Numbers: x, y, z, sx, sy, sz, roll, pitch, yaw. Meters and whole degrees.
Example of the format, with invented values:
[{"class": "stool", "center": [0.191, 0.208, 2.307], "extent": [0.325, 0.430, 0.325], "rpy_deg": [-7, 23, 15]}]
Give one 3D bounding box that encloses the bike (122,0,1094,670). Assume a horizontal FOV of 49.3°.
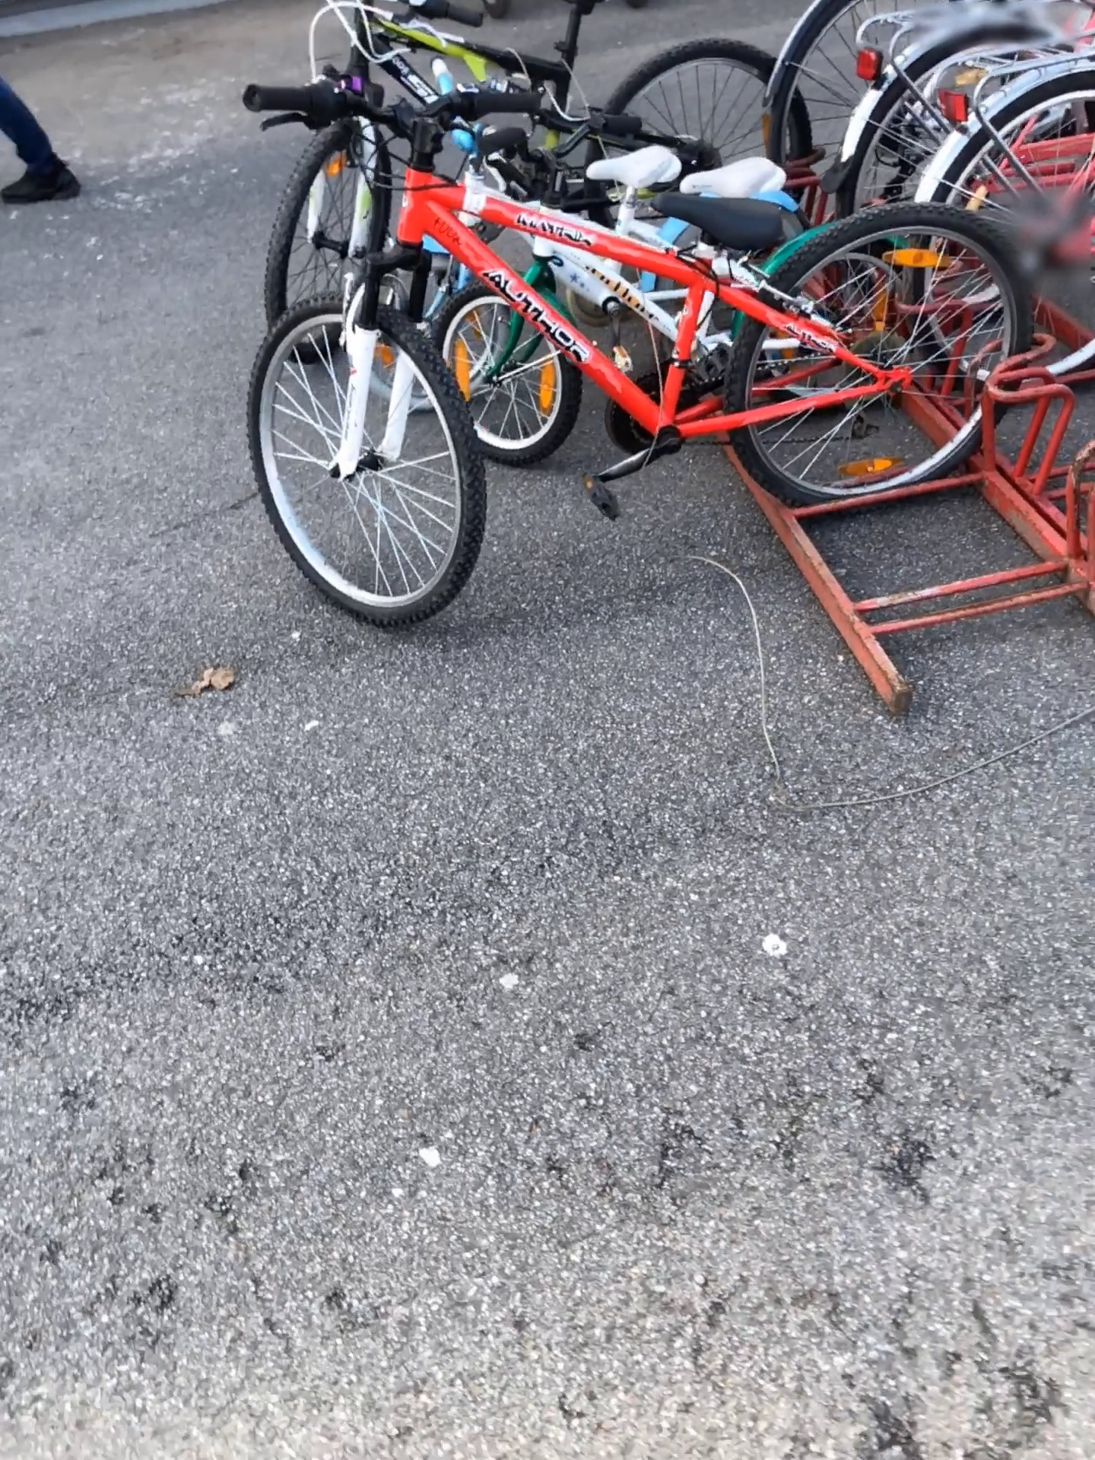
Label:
[{"class": "bike", "center": [0.150, -0.716, 2.093], "extent": [1.444, 0.908, 0.554], "rpy_deg": [-7, 44, 3]}]
